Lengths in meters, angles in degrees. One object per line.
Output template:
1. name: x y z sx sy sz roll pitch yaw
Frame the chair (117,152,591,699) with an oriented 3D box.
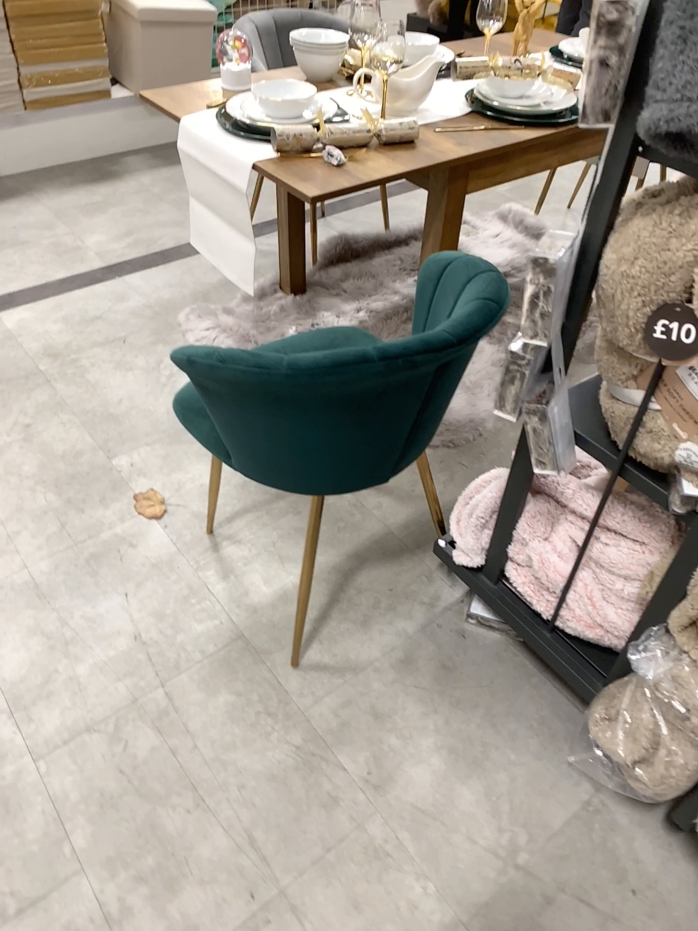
1. chair: -0.016 -0.085 1.358 0.541 0.754 0.528 -24 48 -25
